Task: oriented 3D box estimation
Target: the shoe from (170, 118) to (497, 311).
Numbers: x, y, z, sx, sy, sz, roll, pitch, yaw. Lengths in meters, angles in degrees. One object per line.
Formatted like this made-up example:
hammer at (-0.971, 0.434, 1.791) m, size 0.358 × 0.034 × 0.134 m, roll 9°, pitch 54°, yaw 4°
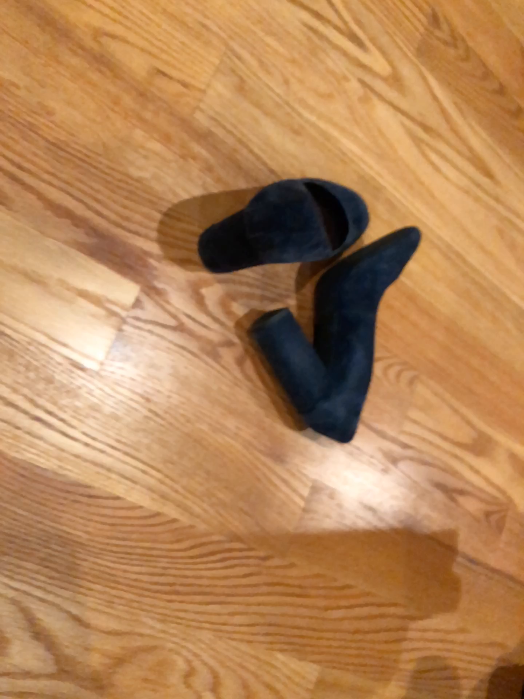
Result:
shoe at (0.062, -0.114, 0.501) m, size 0.227 × 0.146 × 0.080 m, roll -25°, pitch 102°, yaw -31°

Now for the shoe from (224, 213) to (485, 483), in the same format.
shoe at (0.096, -0.006, 0.554) m, size 0.205 × 0.080 × 0.152 m, roll -39°, pitch 109°, yaw -27°
